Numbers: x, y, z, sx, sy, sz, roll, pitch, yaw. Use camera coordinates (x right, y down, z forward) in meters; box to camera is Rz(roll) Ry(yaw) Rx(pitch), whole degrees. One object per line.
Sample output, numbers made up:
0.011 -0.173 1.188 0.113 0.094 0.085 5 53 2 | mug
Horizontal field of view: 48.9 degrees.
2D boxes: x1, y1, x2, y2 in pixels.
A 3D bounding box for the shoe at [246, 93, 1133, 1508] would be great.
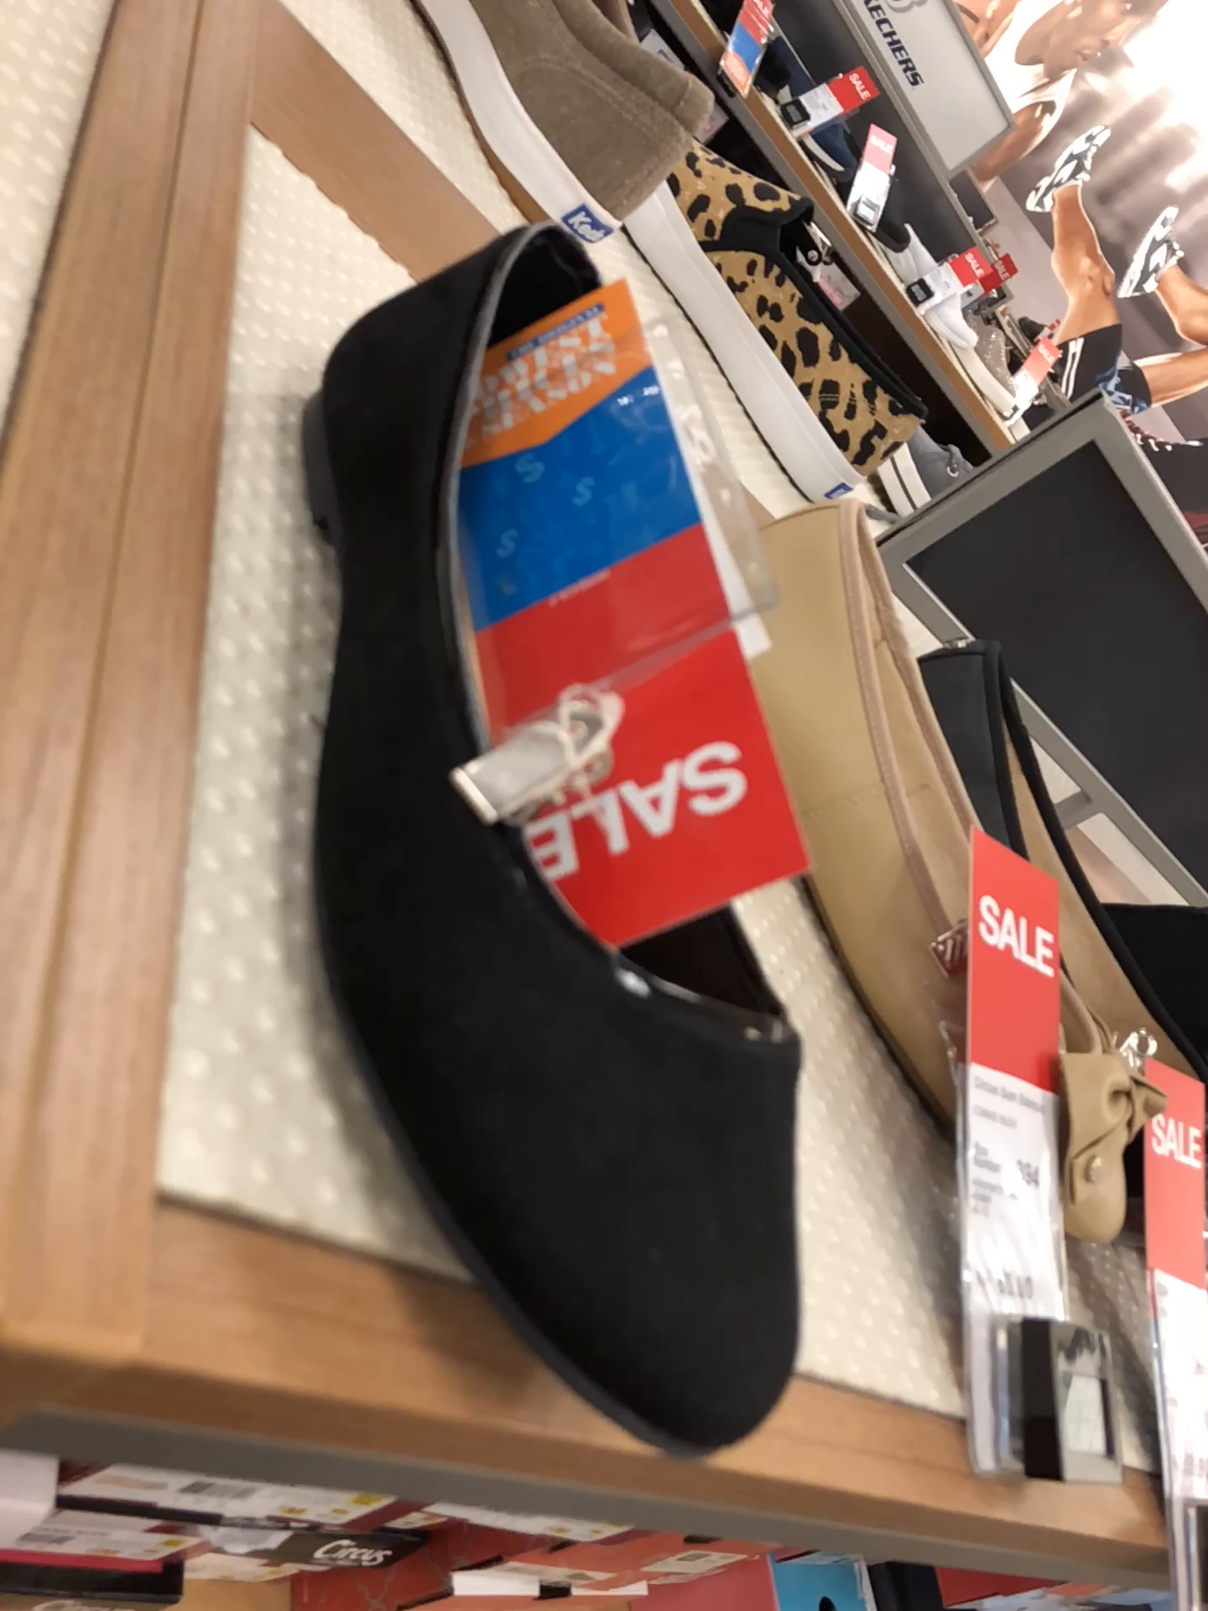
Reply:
0.001 -0.014 0.243 0.091 0.064 0.238 28 38 -46 | shoe
